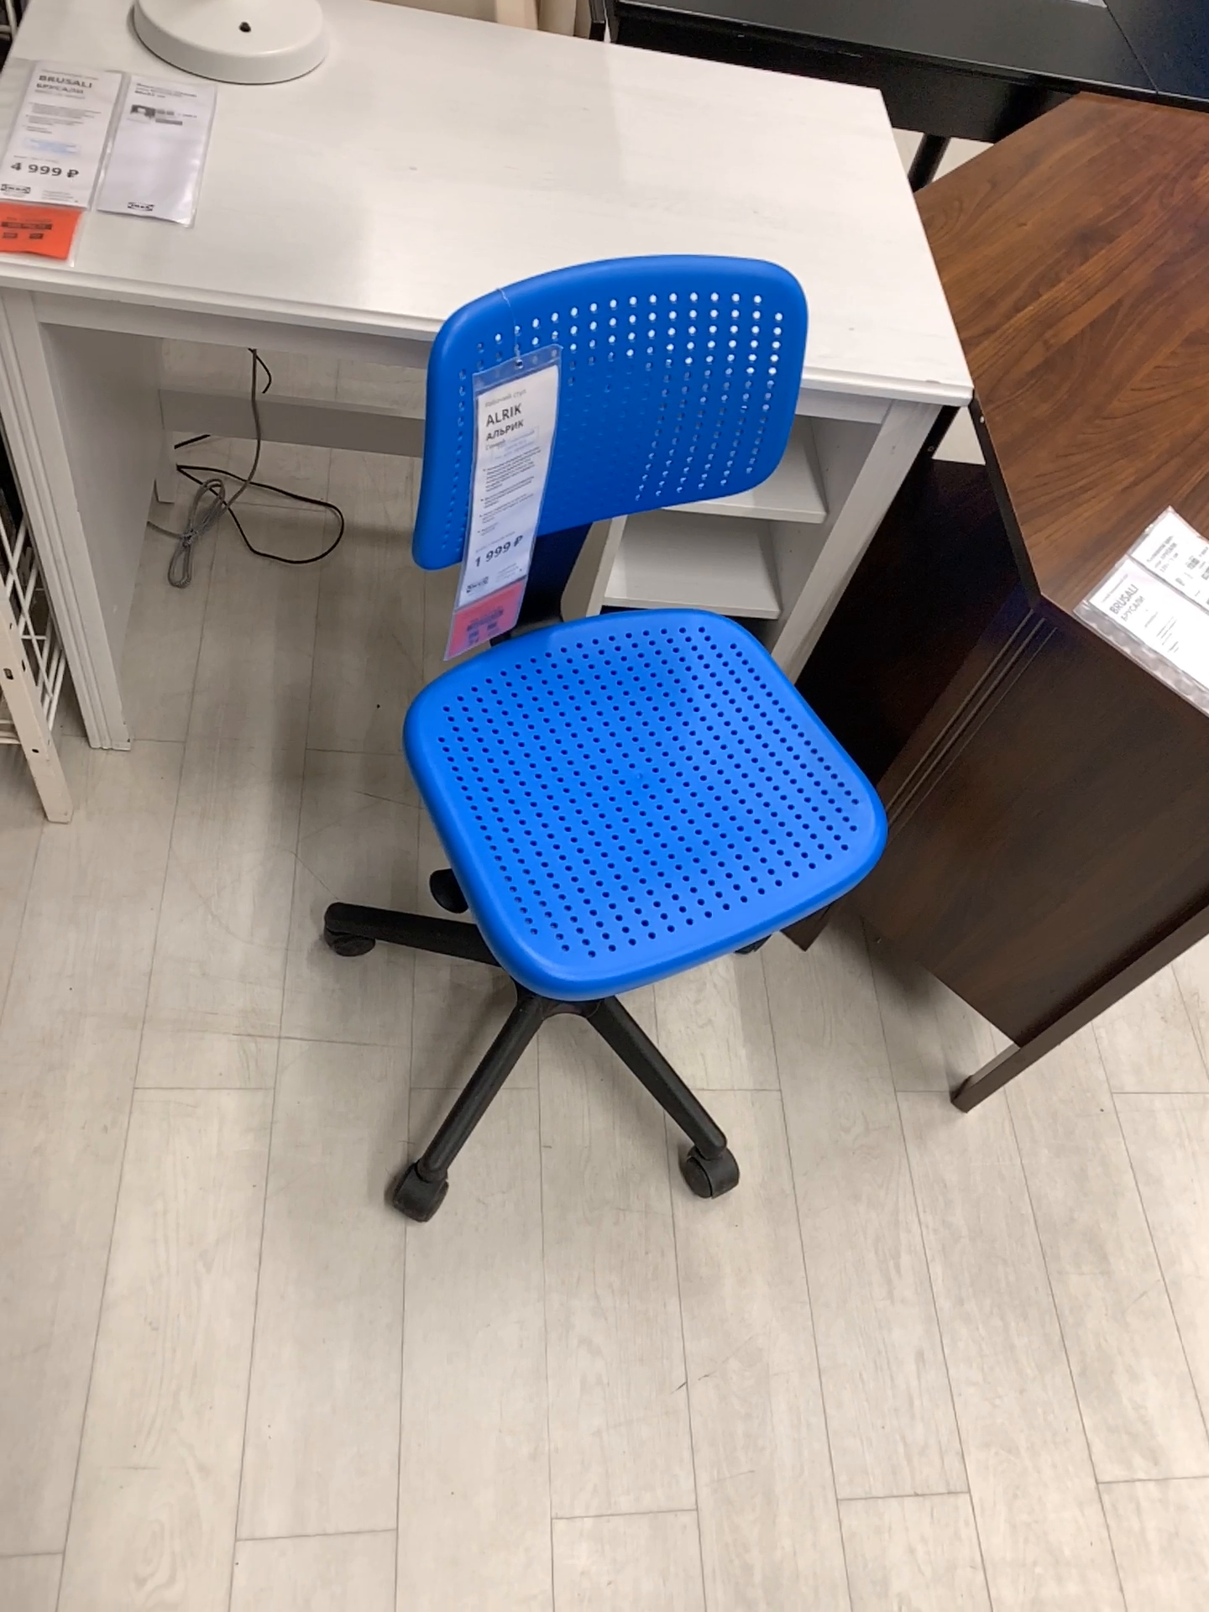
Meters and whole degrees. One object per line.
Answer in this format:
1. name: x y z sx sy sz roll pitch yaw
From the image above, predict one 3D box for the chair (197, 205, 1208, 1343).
1. chair: 0.030 0.017 1.222 0.611 0.857 0.621 -18 63 -23
